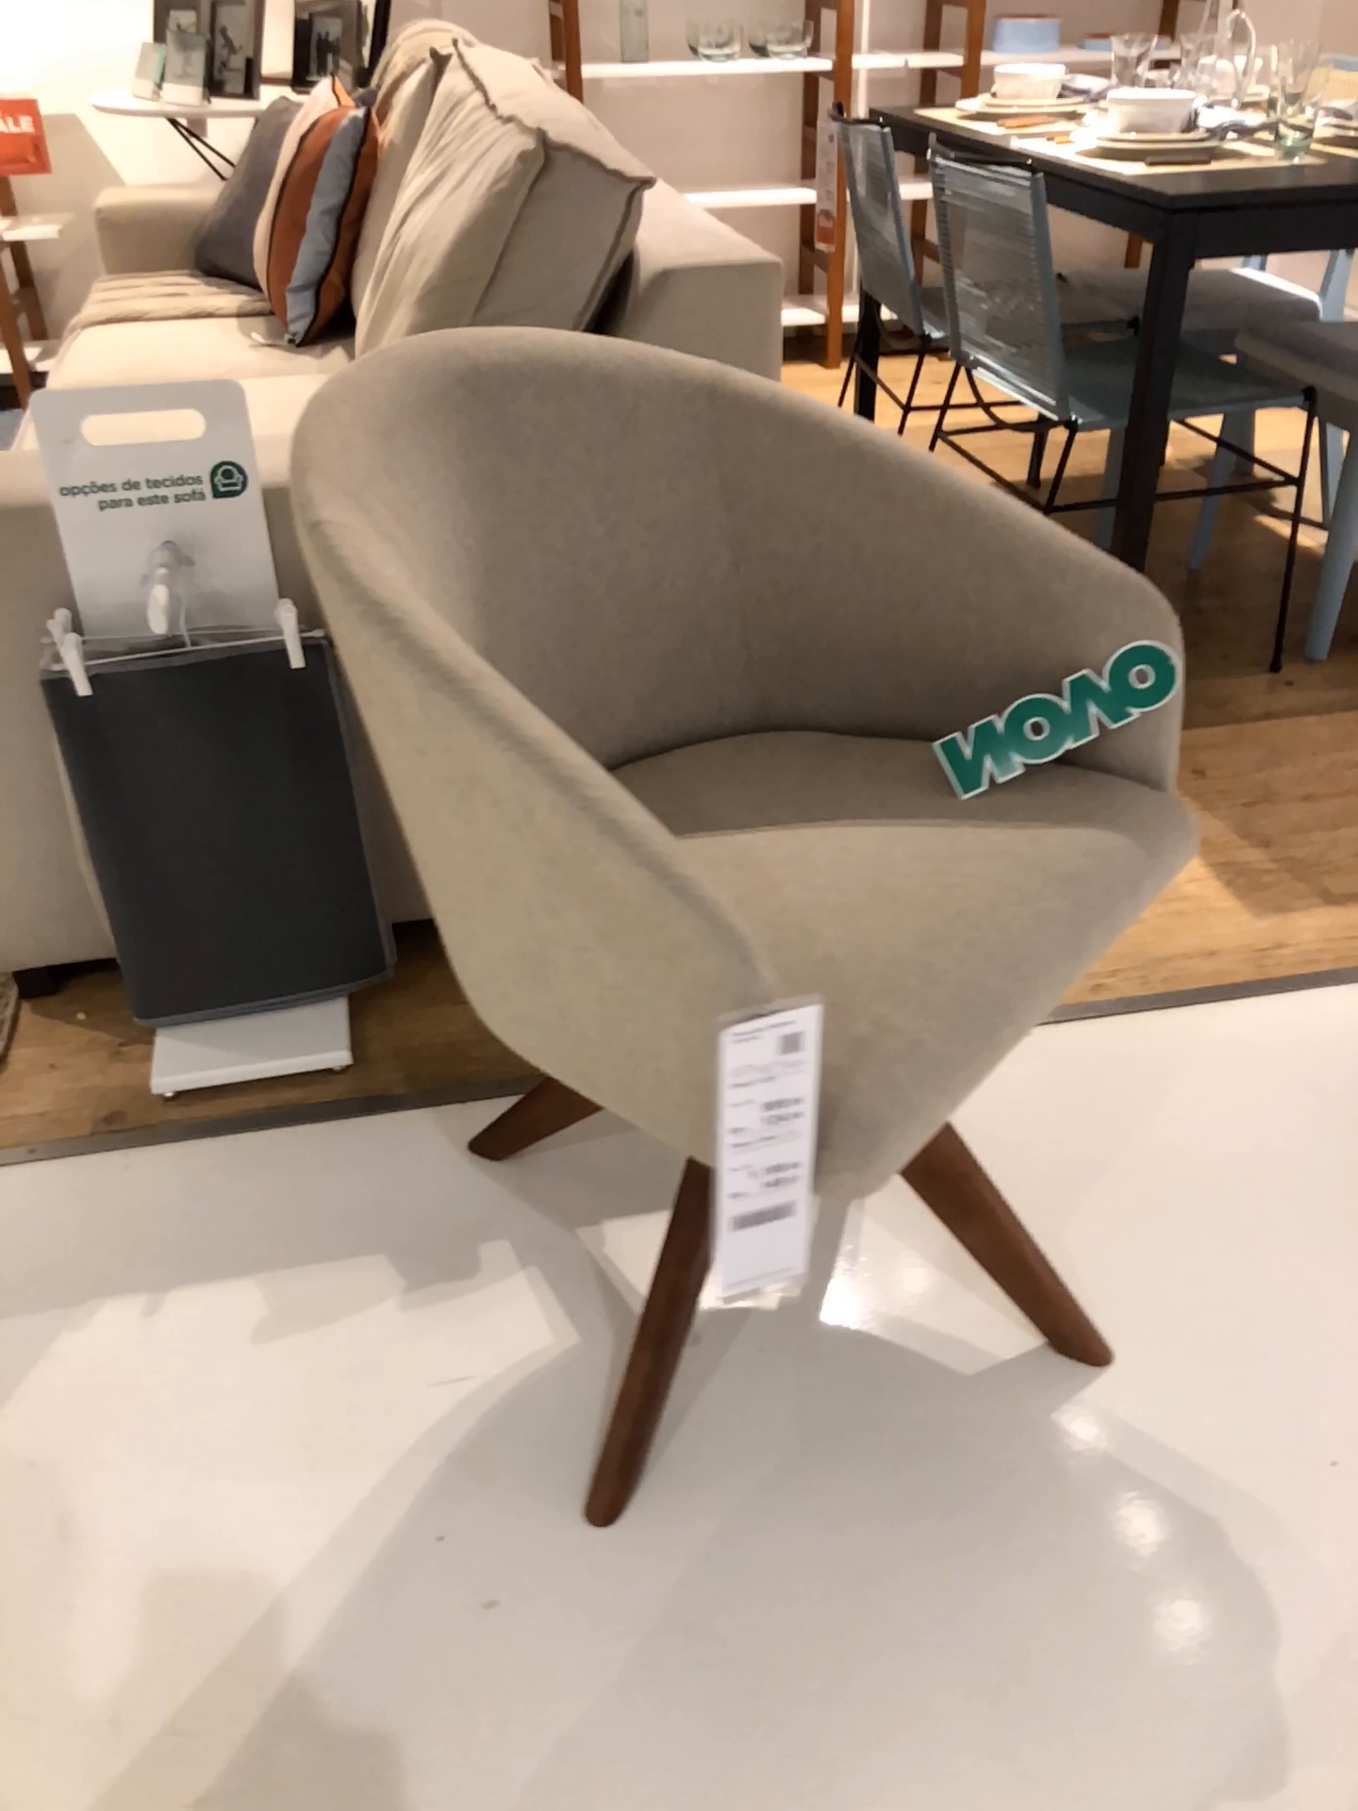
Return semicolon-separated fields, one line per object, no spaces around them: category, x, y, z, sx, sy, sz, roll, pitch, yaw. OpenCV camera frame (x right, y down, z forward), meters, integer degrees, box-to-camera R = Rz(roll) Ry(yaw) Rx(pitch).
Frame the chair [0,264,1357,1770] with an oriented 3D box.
chair;0.050;-0.013;1.219;0.712;0.794;0.694;22;39;32
